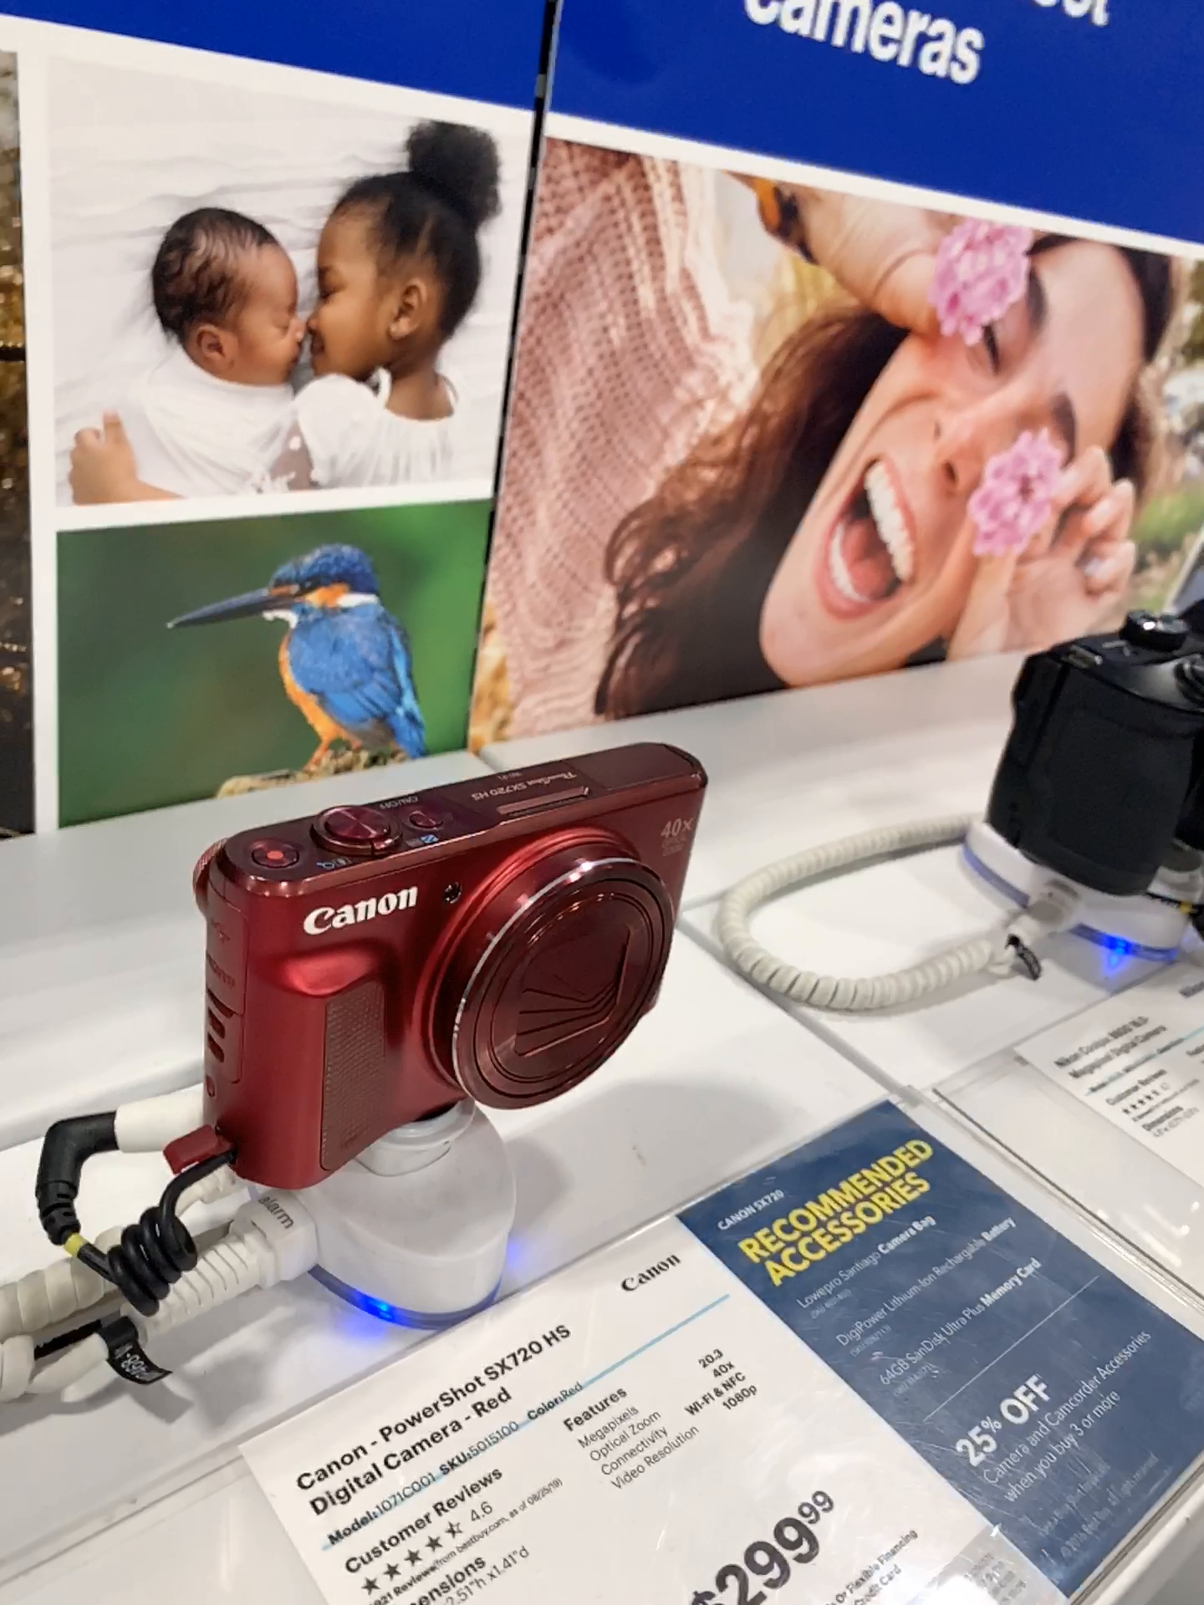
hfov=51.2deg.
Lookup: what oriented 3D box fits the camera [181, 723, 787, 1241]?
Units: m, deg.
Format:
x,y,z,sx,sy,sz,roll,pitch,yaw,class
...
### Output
x,y,z,sx,sy,sz,roll,pitch,yaw,class
-0.020,0.027,0.242,0.110,0.060,0.037,-14,34,-41,camera
